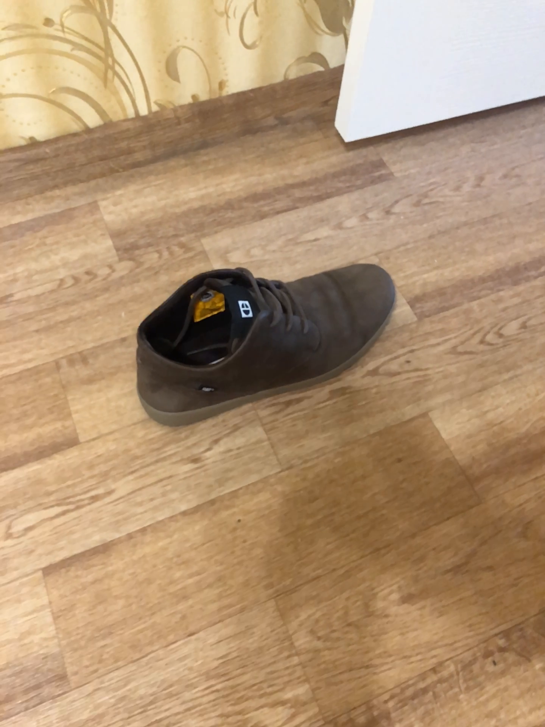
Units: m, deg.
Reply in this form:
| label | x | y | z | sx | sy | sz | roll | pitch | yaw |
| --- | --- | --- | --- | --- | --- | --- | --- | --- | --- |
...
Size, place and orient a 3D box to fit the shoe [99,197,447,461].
| label | x | y | z | sx | sy | sz | roll | pitch | yaw |
| --- | --- | --- | --- | --- | --- | --- | --- | --- | --- |
| shoe | 0.003 | -0.033 | 0.543 | 0.270 | 0.110 | 0.100 | -24 | 64 | -15 |
